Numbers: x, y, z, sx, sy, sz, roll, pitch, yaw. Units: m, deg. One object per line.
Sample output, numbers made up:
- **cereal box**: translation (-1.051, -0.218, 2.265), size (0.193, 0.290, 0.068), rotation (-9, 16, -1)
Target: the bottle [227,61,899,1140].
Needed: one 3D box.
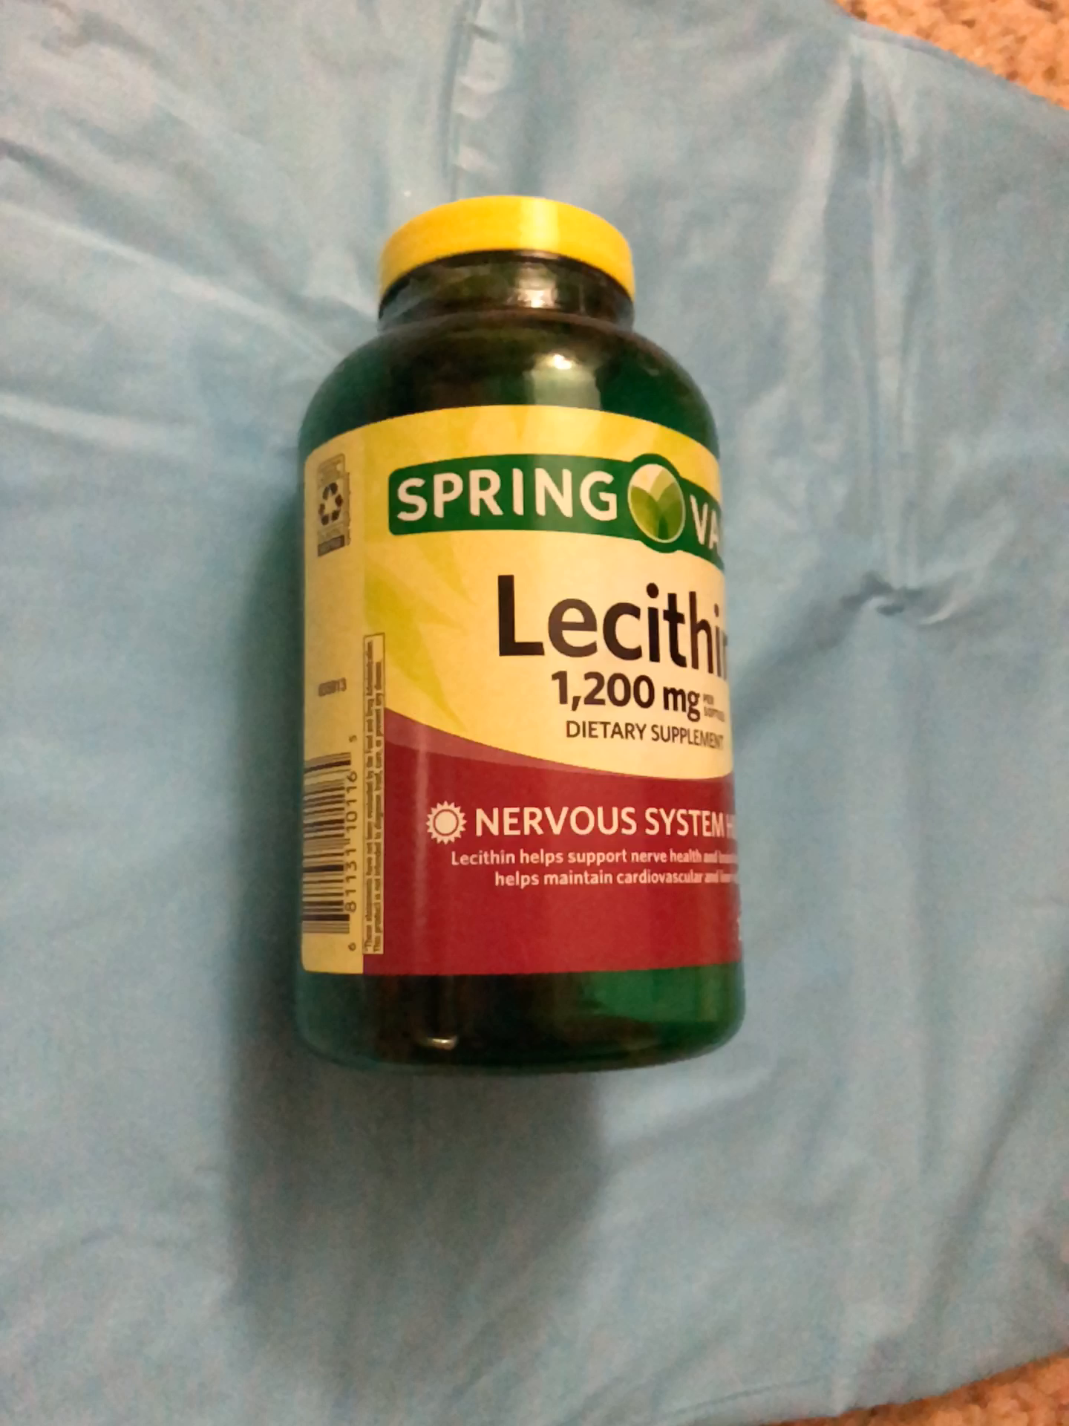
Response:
- **bottle**: translation (0.001, -0.013, 0.248), size (0.100, 0.090, 0.170), rotation (4, 80, -29)
